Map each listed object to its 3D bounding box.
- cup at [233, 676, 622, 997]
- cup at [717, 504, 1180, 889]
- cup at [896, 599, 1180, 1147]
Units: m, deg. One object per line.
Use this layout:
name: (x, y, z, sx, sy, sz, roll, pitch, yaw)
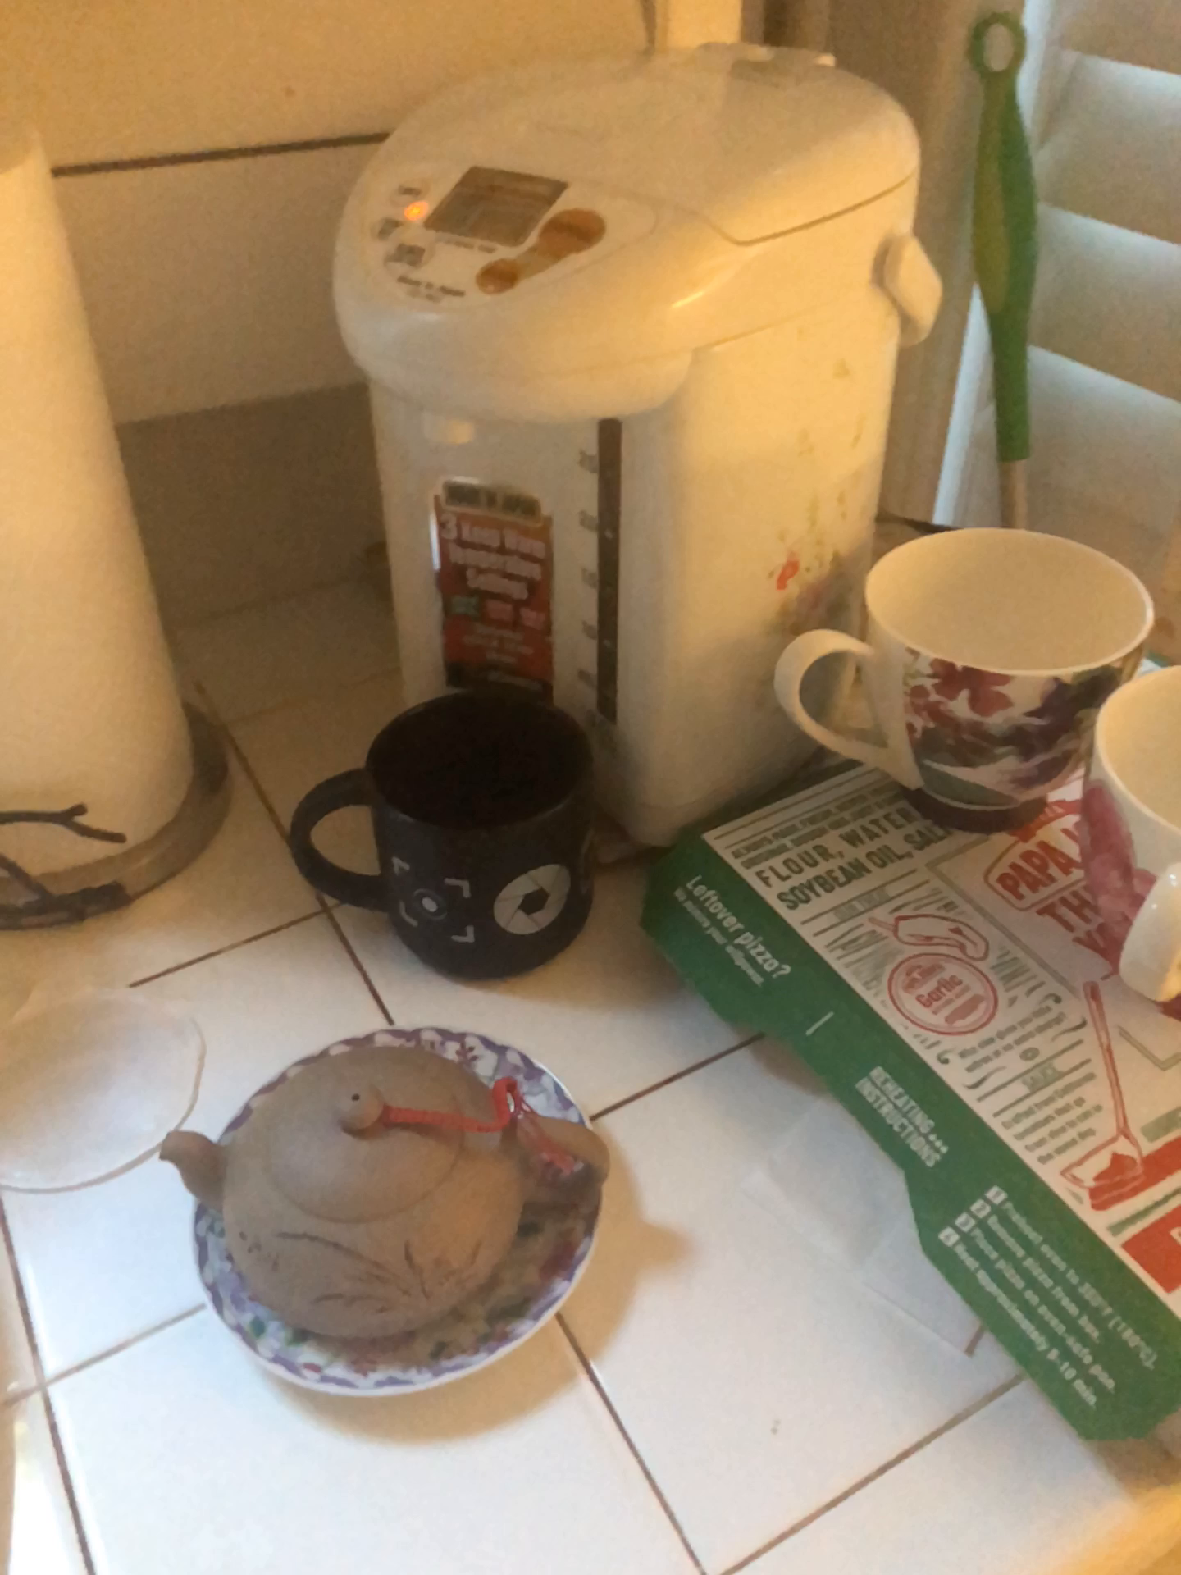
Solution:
cup: (-0.063, 0.018, 0.533, 0.140, 0.079, 0.091, -4, 40, -5)
cup: (0.147, -0.041, 0.522, 0.160, 0.079, 0.101, -14, 42, -15)
cup: (0.199, 0.019, 0.430, 0.161, 0.079, 0.100, -25, 46, -27)
